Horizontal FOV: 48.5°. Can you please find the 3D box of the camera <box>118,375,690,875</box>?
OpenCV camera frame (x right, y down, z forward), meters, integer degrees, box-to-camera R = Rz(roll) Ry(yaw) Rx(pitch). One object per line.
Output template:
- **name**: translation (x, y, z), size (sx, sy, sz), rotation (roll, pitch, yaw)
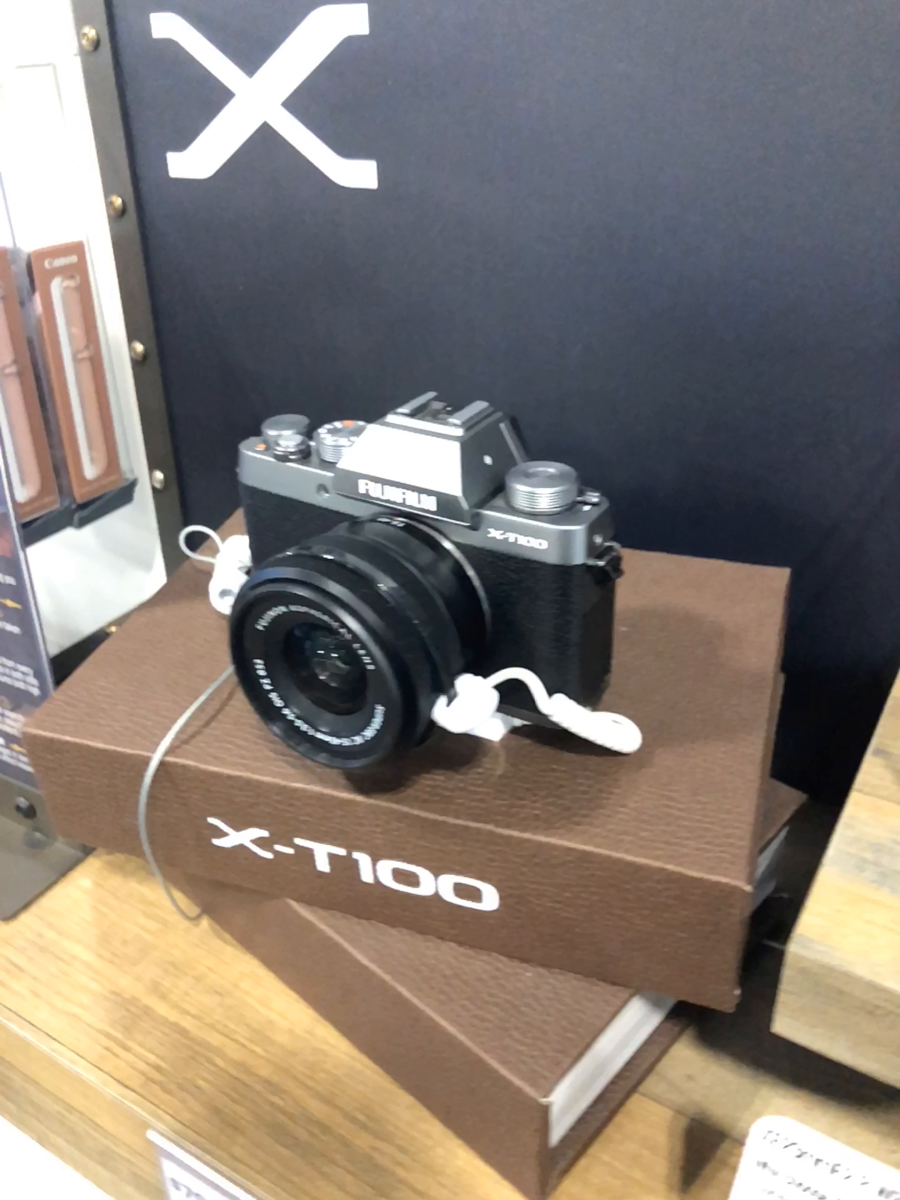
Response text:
- **camera**: translation (-0.011, -0.004, 0.307), size (0.130, 0.089, 0.100), rotation (16, 32, 28)
